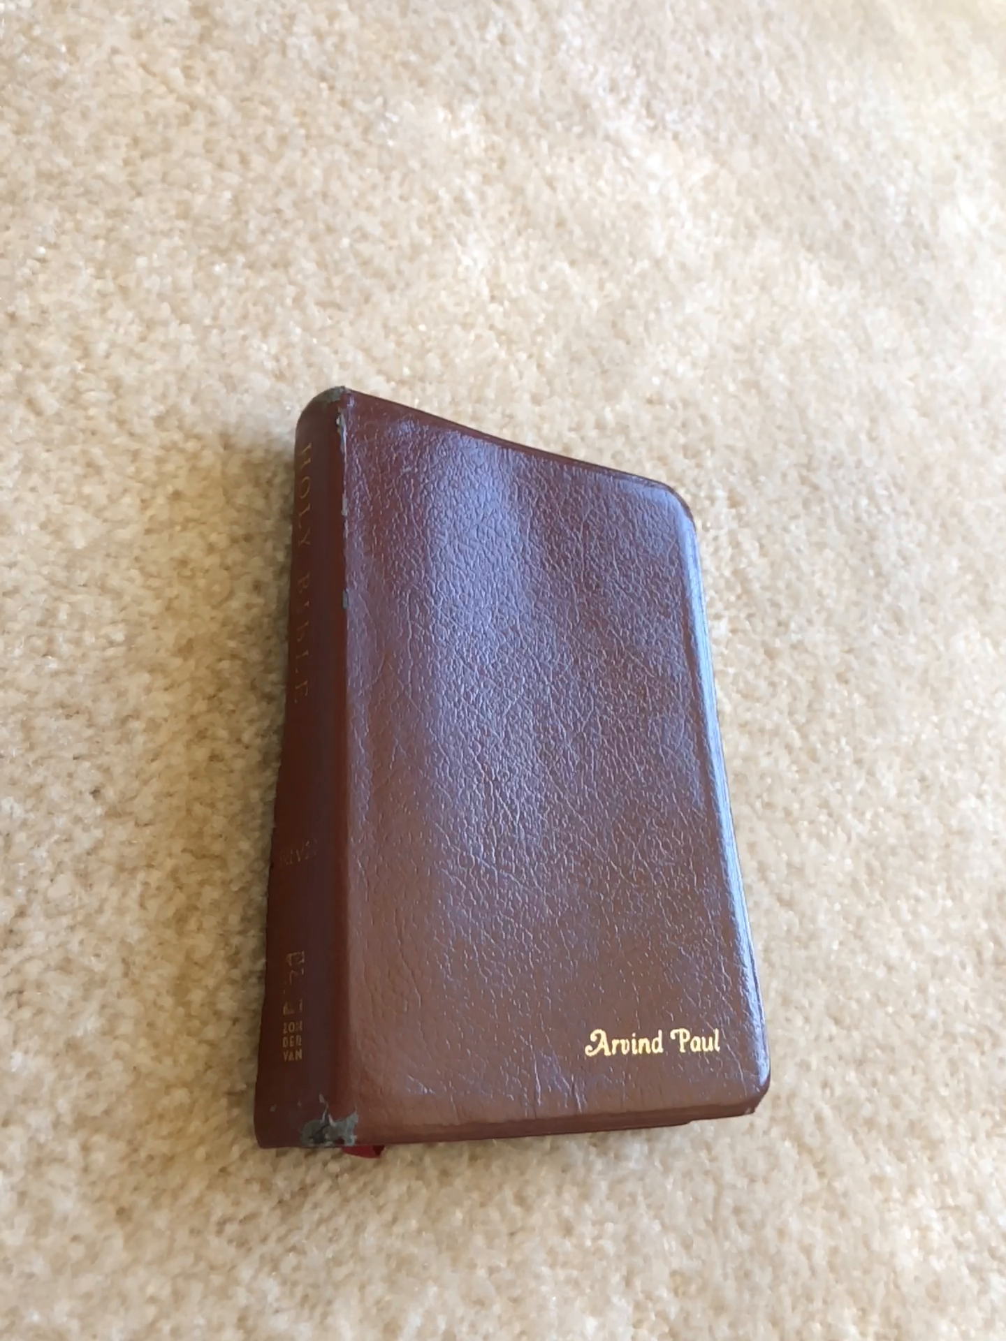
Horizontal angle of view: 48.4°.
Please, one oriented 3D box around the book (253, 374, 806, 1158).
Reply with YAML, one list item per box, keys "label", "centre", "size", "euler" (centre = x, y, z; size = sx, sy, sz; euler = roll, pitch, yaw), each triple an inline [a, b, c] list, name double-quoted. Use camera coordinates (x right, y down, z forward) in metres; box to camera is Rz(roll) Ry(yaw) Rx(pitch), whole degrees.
- label: "book"
  centre: [0.004, 0.023, 0.259]
  size: [0.111, 0.040, 0.157]
  euler: [9, 66, -30]
